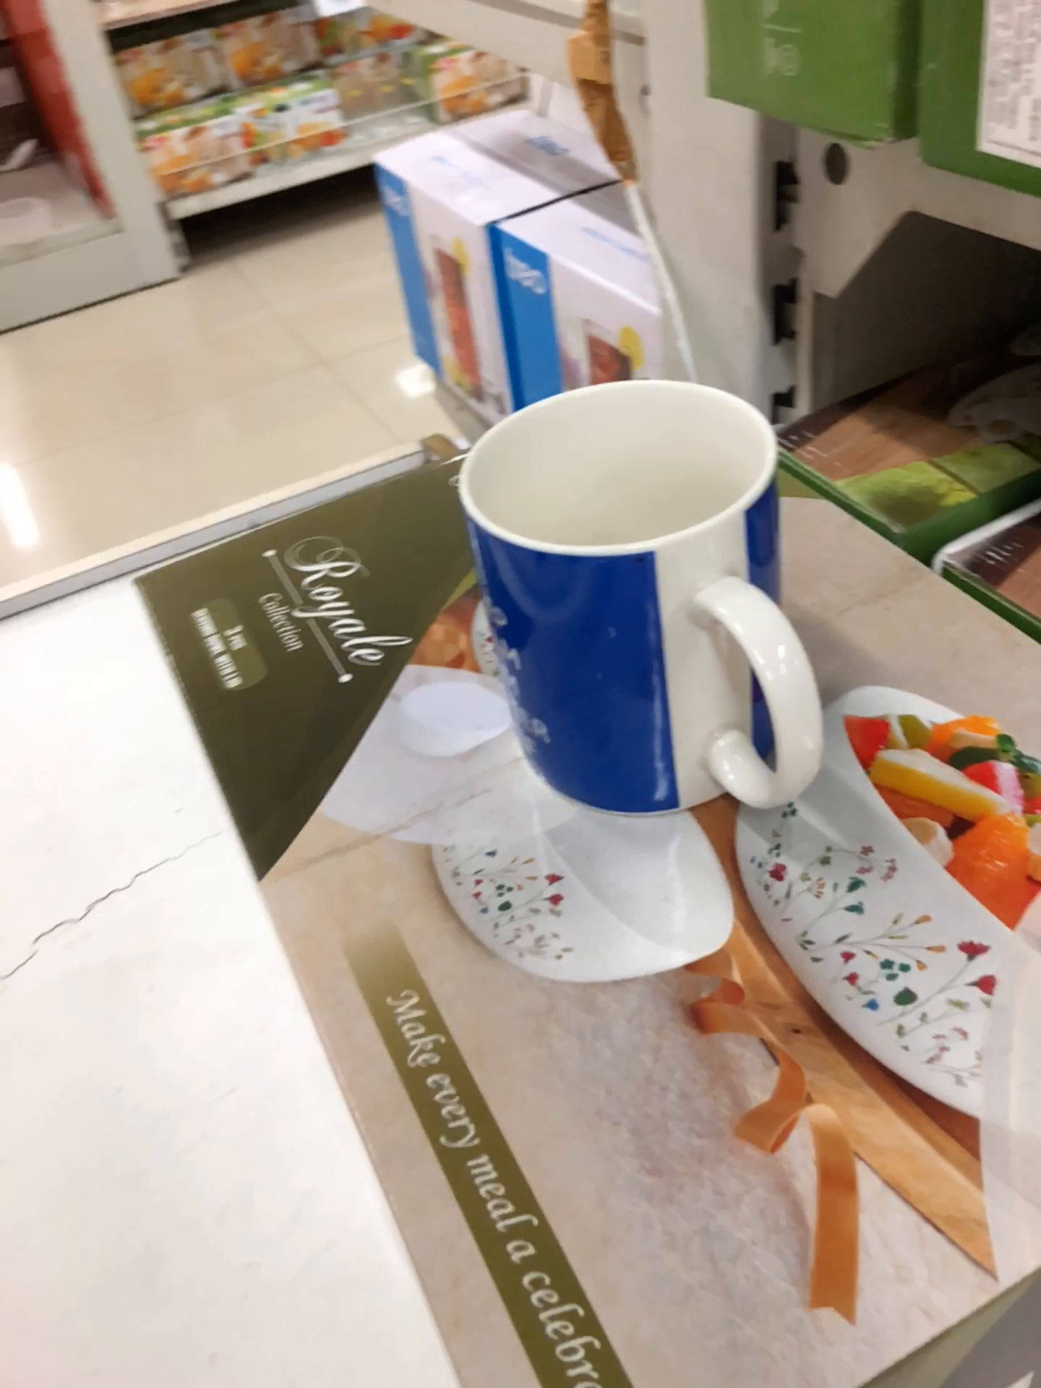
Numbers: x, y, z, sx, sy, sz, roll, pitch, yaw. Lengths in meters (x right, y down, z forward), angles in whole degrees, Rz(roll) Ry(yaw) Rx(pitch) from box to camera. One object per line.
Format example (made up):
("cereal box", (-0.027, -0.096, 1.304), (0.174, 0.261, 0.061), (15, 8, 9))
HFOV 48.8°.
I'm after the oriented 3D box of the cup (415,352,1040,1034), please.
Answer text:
("cup", (0.055, -0.010, 0.325), (0.110, 0.099, 0.141), (-23, 42, -14))
